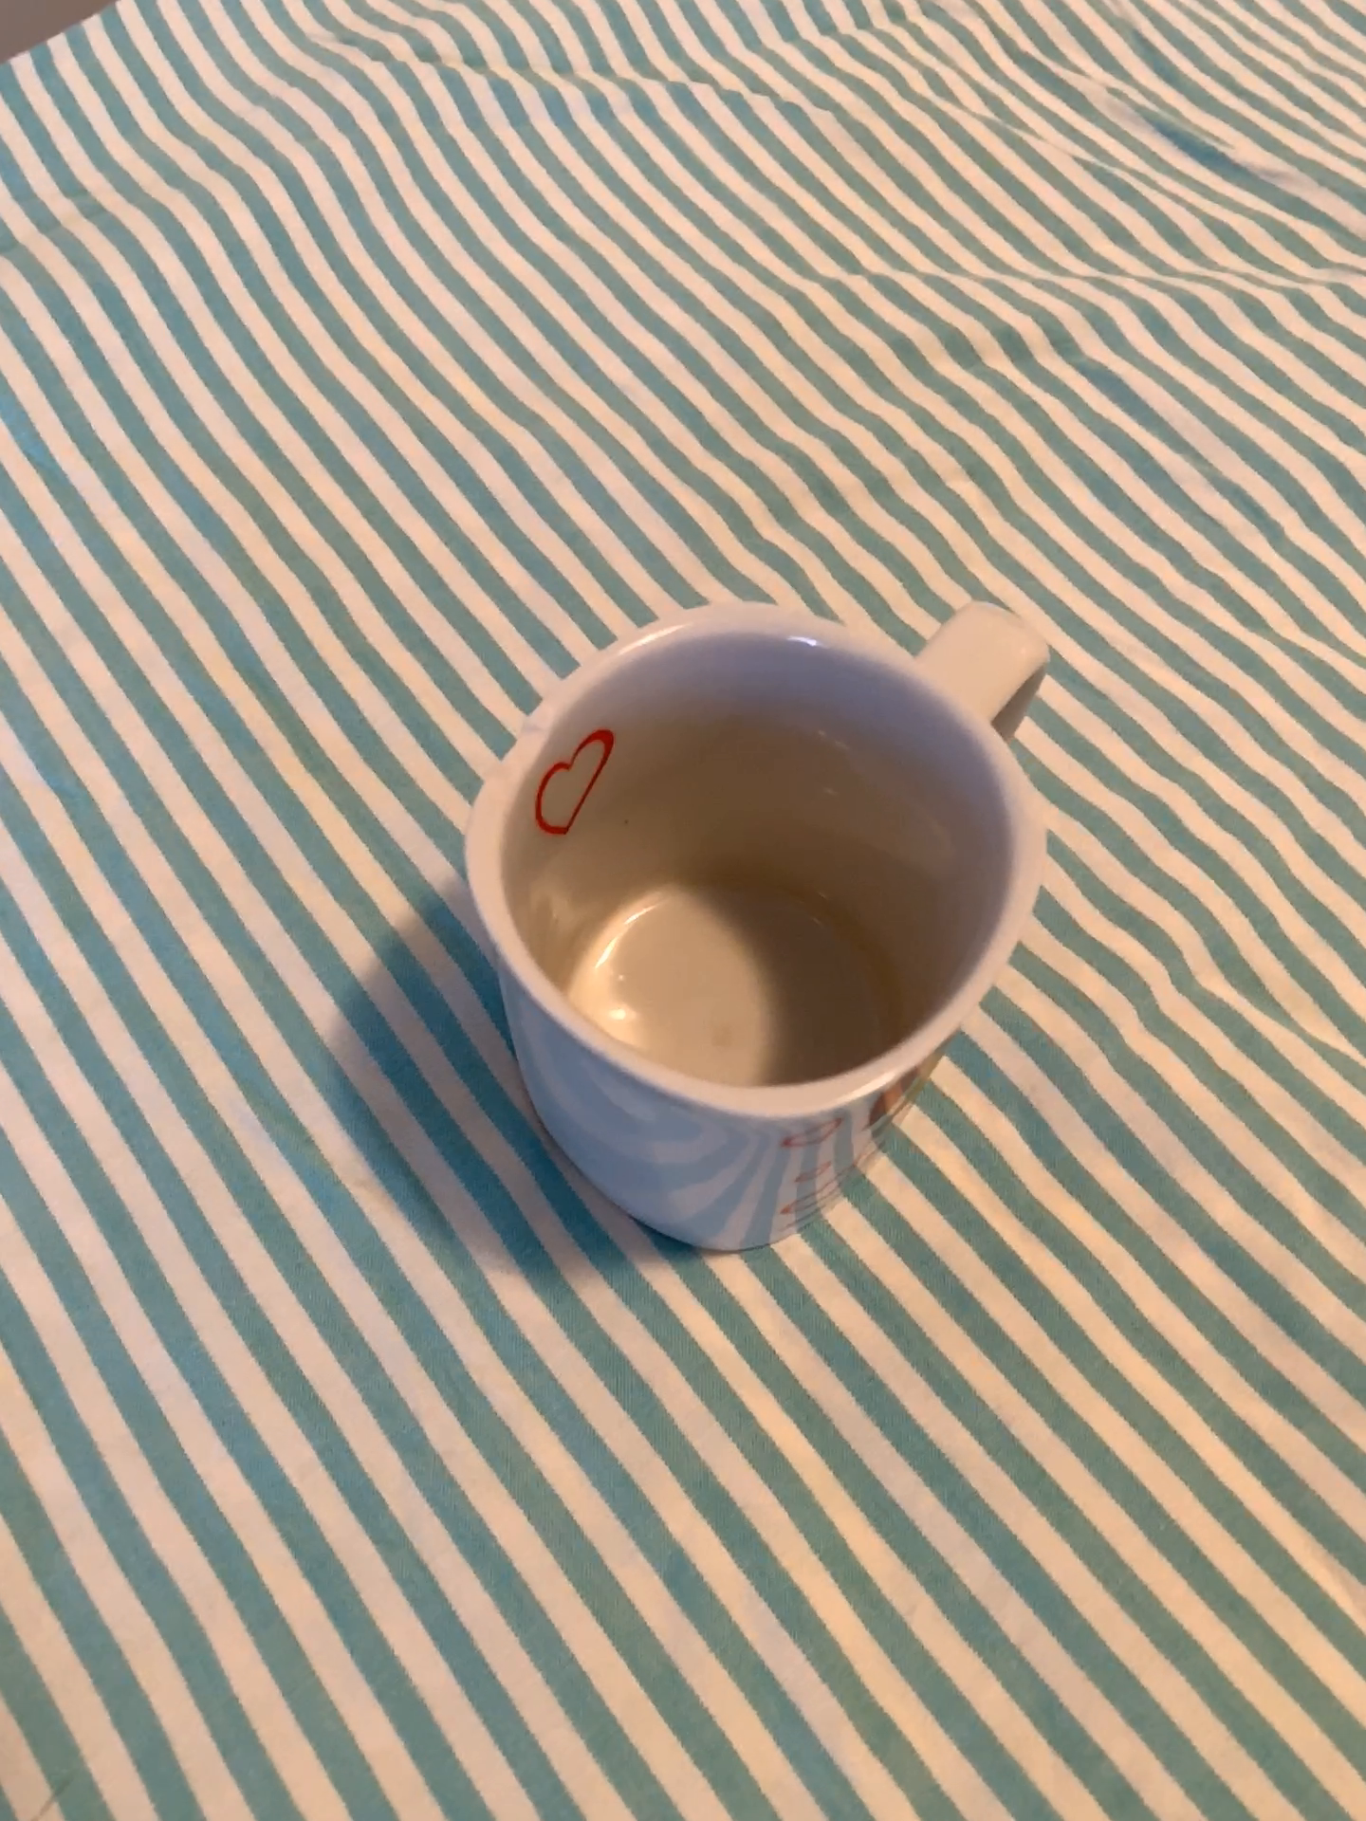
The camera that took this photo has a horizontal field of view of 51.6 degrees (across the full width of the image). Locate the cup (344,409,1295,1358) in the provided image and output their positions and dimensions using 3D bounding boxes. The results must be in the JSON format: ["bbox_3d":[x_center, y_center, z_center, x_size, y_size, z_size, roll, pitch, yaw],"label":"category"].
[{"bbox_3d":[0.019,-0.002,0.222,0.110,0.080,0.070,-41,72,-20],"label":"cup"}]
